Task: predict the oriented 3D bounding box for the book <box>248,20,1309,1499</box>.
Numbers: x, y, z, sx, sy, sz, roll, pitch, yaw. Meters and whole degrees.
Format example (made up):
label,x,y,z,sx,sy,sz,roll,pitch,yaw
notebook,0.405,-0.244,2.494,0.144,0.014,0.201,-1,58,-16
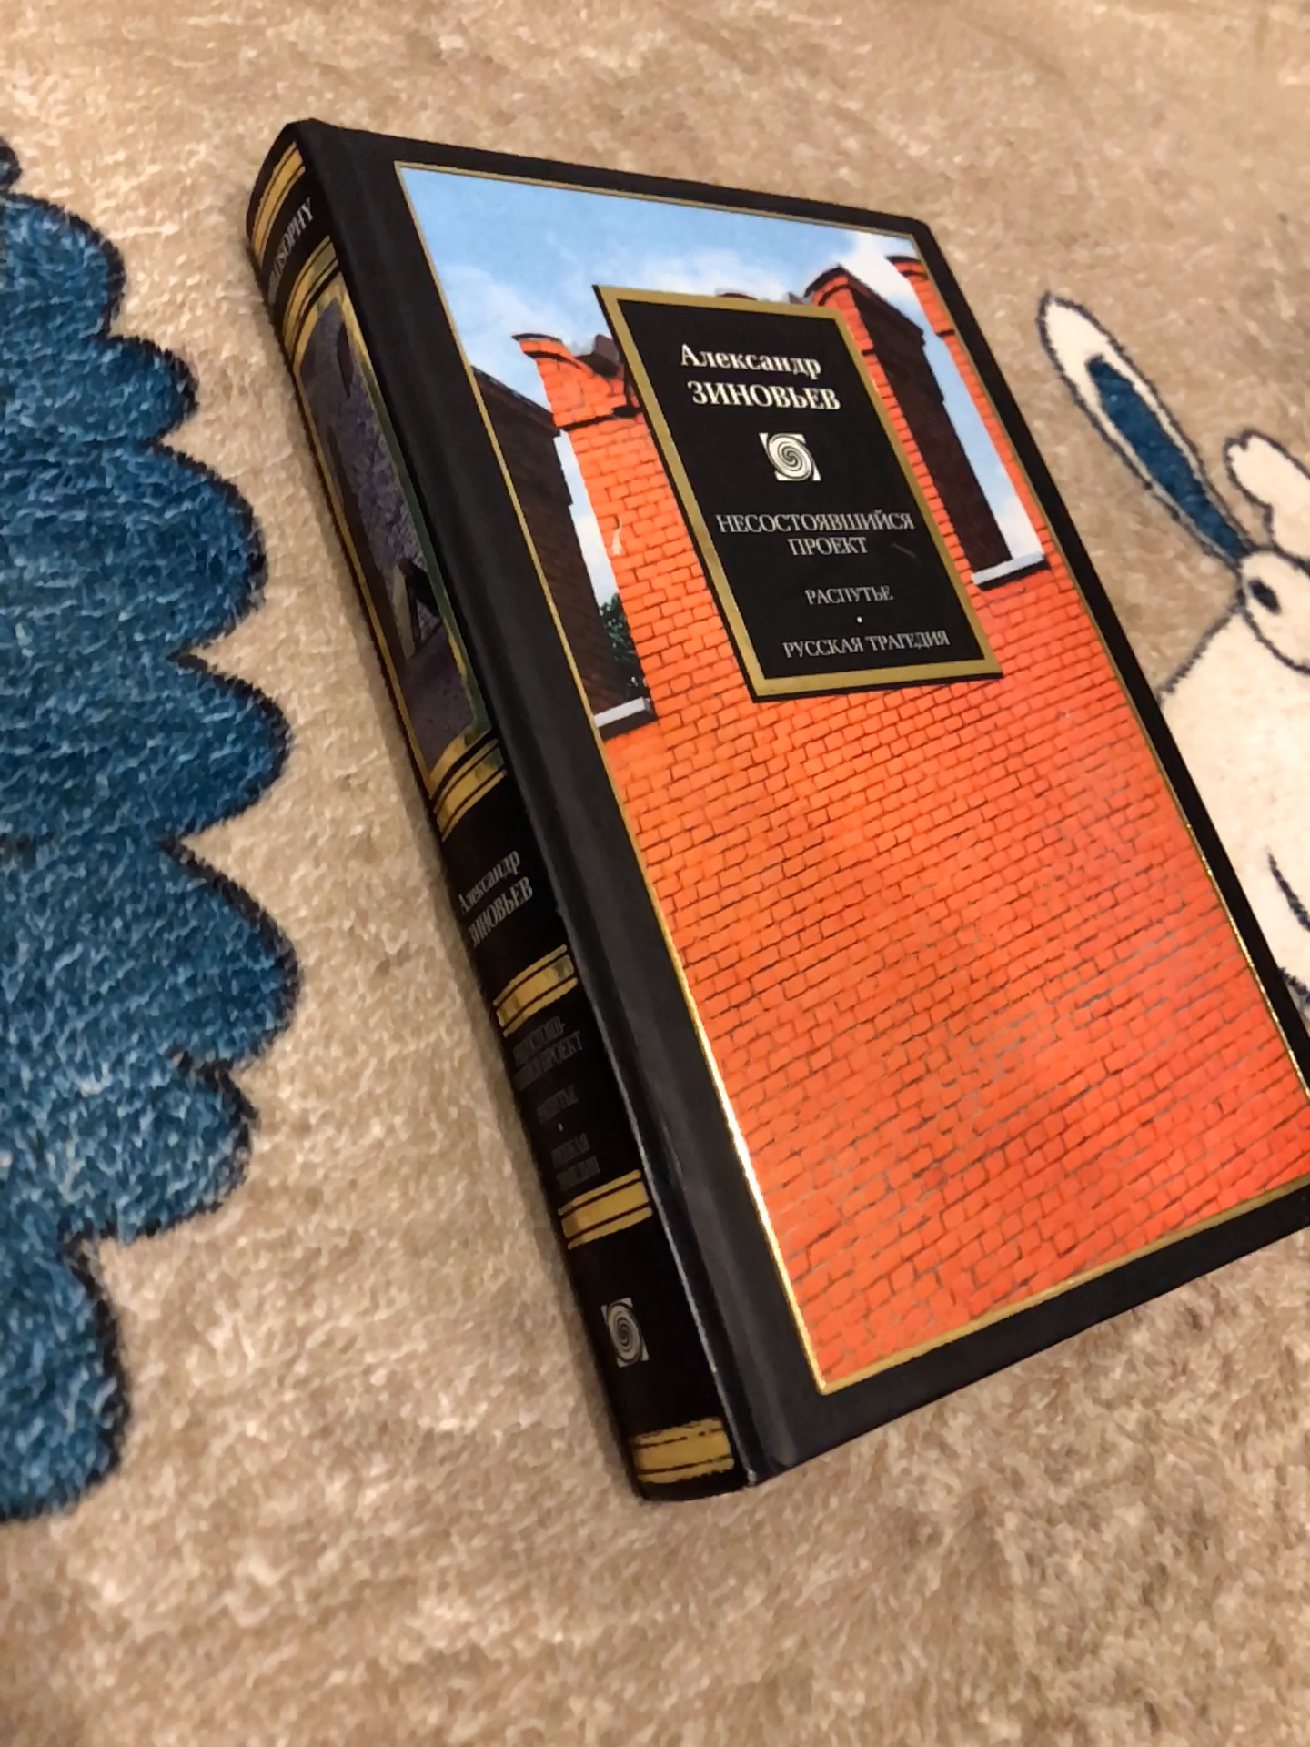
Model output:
label,x,y,z,sx,sy,sz,roll,pitch,yaw
book,0.031,-0.032,0.239,0.141,0.040,0.210,-8,70,-33
